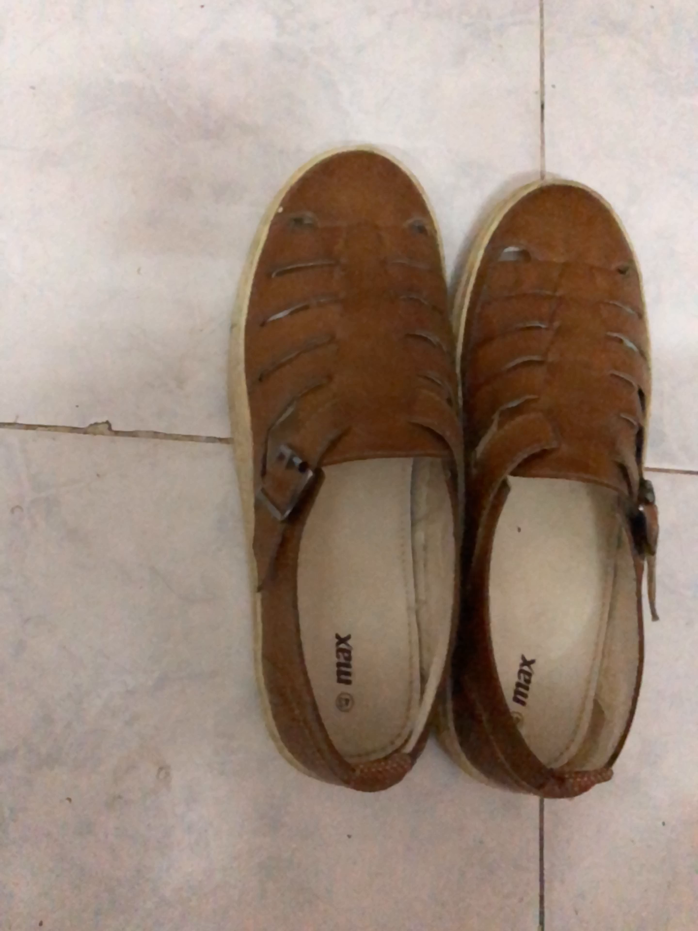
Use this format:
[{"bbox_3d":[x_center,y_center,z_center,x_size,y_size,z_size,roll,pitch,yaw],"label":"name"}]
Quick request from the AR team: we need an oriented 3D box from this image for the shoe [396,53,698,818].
[{"bbox_3d":[0.095,-0.013,0.356,0.110,0.100,0.300,6,79,-8],"label":"shoe"}]

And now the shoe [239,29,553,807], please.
[{"bbox_3d":[0.008,-0.022,0.349,0.110,0.100,0.300,0,80,-9],"label":"shoe"}]
